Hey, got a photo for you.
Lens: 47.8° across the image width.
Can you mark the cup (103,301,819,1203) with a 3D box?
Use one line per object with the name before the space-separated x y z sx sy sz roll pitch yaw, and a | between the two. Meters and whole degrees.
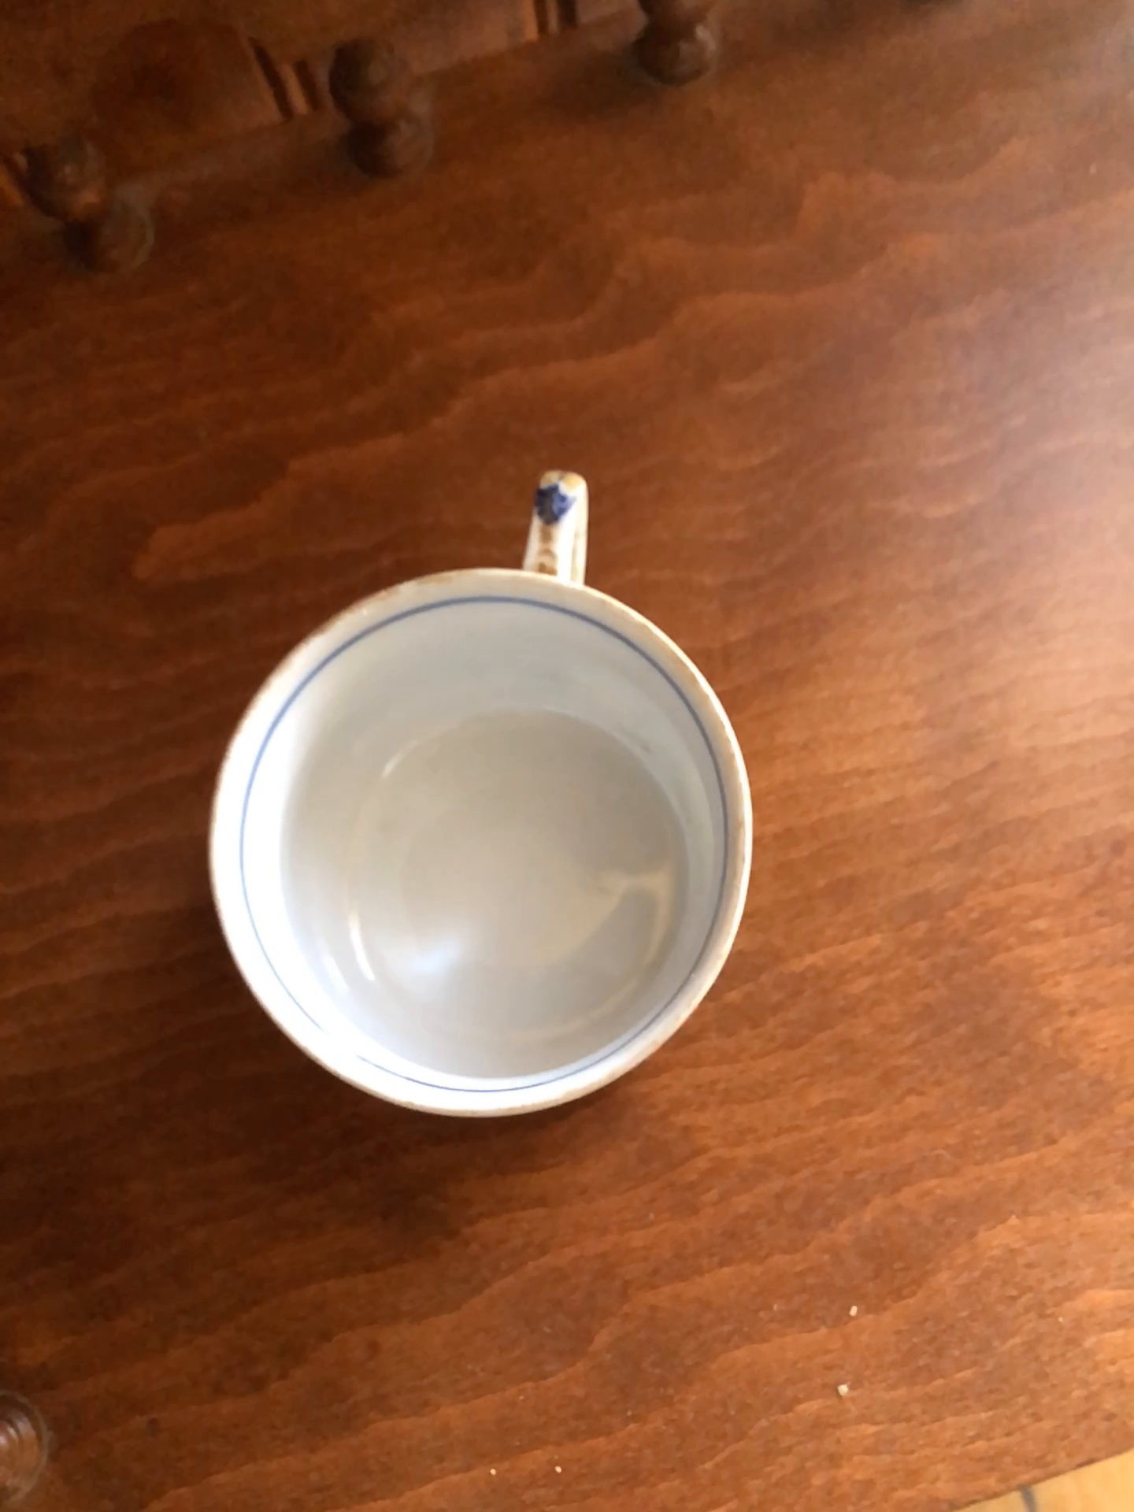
cup | -0.010 0.000 0.208 0.080 0.060 0.120 8 77 7
